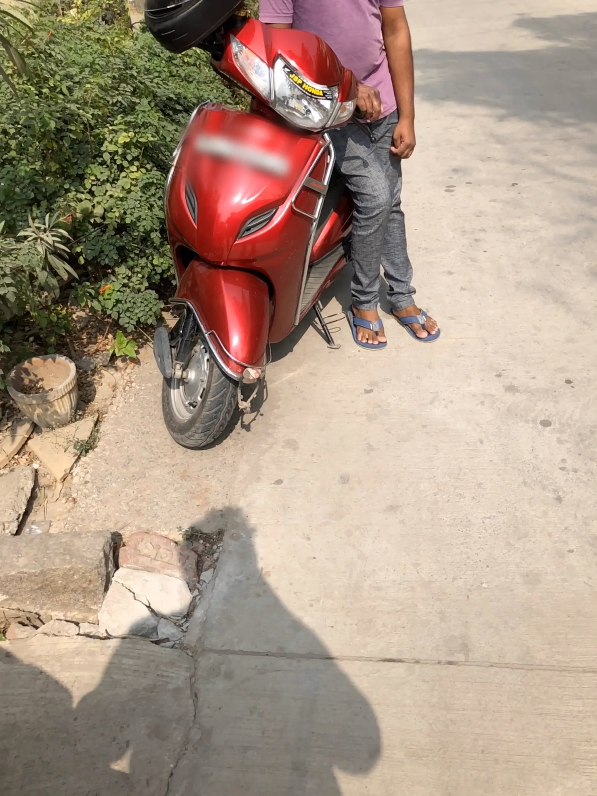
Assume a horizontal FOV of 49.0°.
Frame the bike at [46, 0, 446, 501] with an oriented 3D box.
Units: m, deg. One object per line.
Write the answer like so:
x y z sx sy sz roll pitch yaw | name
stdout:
0.051 -0.677 2.201 0.621 1.157 1.594 7 39 15 | bike
